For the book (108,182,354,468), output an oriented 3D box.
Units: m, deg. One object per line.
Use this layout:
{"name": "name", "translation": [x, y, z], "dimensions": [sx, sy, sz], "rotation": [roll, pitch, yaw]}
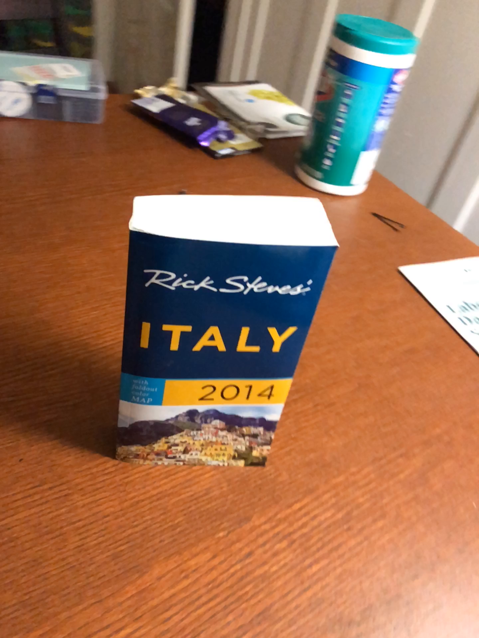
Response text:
{"name": "book", "translation": [-0.020, 0.017, 0.360], "dimensions": [0.130, 0.199, 0.050], "rotation": [1, 38, -14]}
